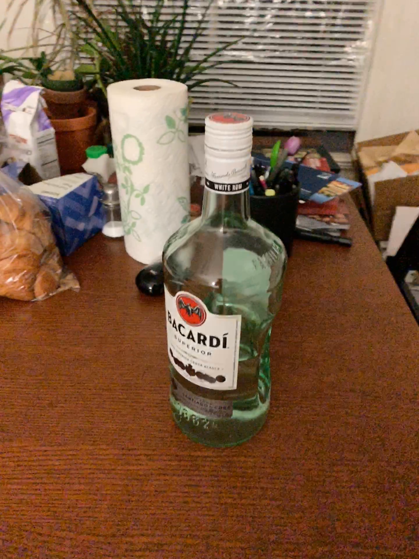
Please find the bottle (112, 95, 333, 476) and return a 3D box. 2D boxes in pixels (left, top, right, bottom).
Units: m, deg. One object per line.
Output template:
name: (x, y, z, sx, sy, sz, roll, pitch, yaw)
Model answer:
bottle: (0.012, 0.016, 0.416, 0.120, 0.328, 0.120, 0, 34, 0)
